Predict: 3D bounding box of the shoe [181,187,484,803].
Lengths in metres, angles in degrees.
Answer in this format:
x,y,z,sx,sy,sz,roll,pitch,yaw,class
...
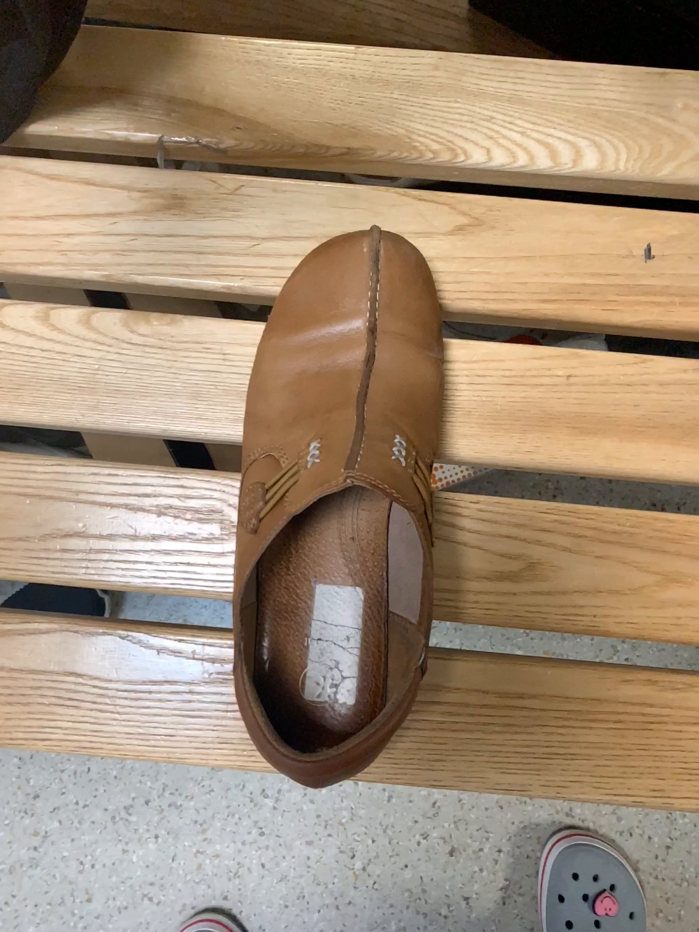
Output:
x,y,z,sx,sy,sz,roll,pitch,yaw,class
-0.004,0.010,0.331,0.111,0.085,0.245,2,84,1,shoe
